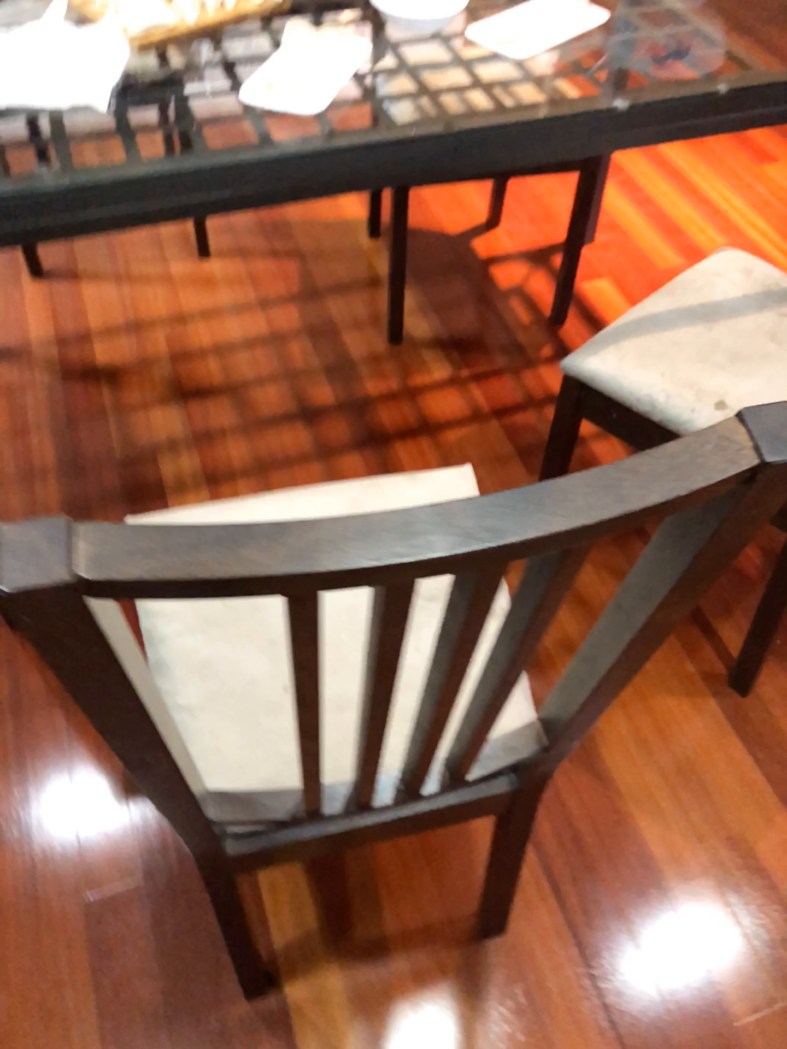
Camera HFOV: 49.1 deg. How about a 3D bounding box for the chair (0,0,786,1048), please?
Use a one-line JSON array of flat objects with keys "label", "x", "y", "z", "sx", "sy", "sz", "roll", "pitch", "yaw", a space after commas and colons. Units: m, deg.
[{"label": "chair", "x": -0.036, "y": 0.117, "z": 0.898, "sx": 0.490, "sy": 1.054, "sz": 0.513, "roll": -9, "pitch": 52, "yaw": -9}]
